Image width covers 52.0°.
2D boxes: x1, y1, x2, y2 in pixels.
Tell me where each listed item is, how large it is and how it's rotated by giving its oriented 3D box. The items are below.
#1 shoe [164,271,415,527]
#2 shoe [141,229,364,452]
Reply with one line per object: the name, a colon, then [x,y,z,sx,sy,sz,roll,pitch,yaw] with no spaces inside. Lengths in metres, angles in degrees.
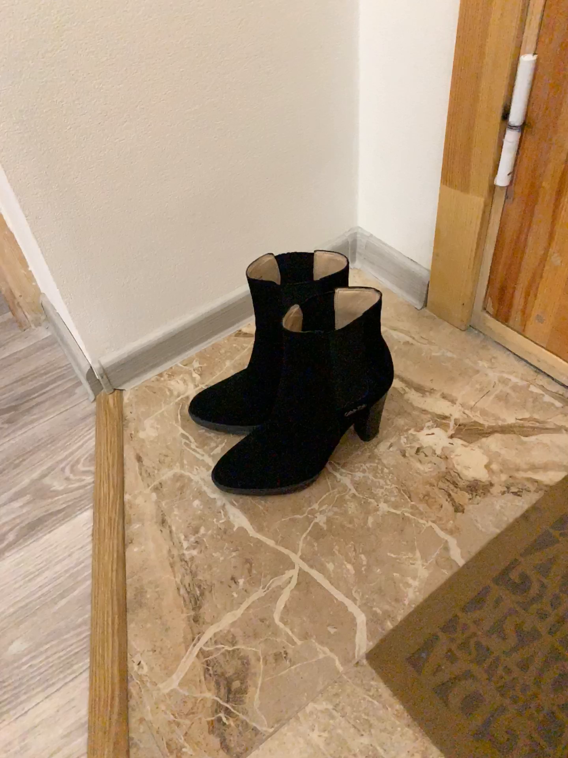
shoe: [0.013,0.025,0.605,0.214,0.198,0.087,-21,47,-13]
shoe: [-0.027,-0.039,0.664,0.214,0.198,0.087,-15,46,-7]
